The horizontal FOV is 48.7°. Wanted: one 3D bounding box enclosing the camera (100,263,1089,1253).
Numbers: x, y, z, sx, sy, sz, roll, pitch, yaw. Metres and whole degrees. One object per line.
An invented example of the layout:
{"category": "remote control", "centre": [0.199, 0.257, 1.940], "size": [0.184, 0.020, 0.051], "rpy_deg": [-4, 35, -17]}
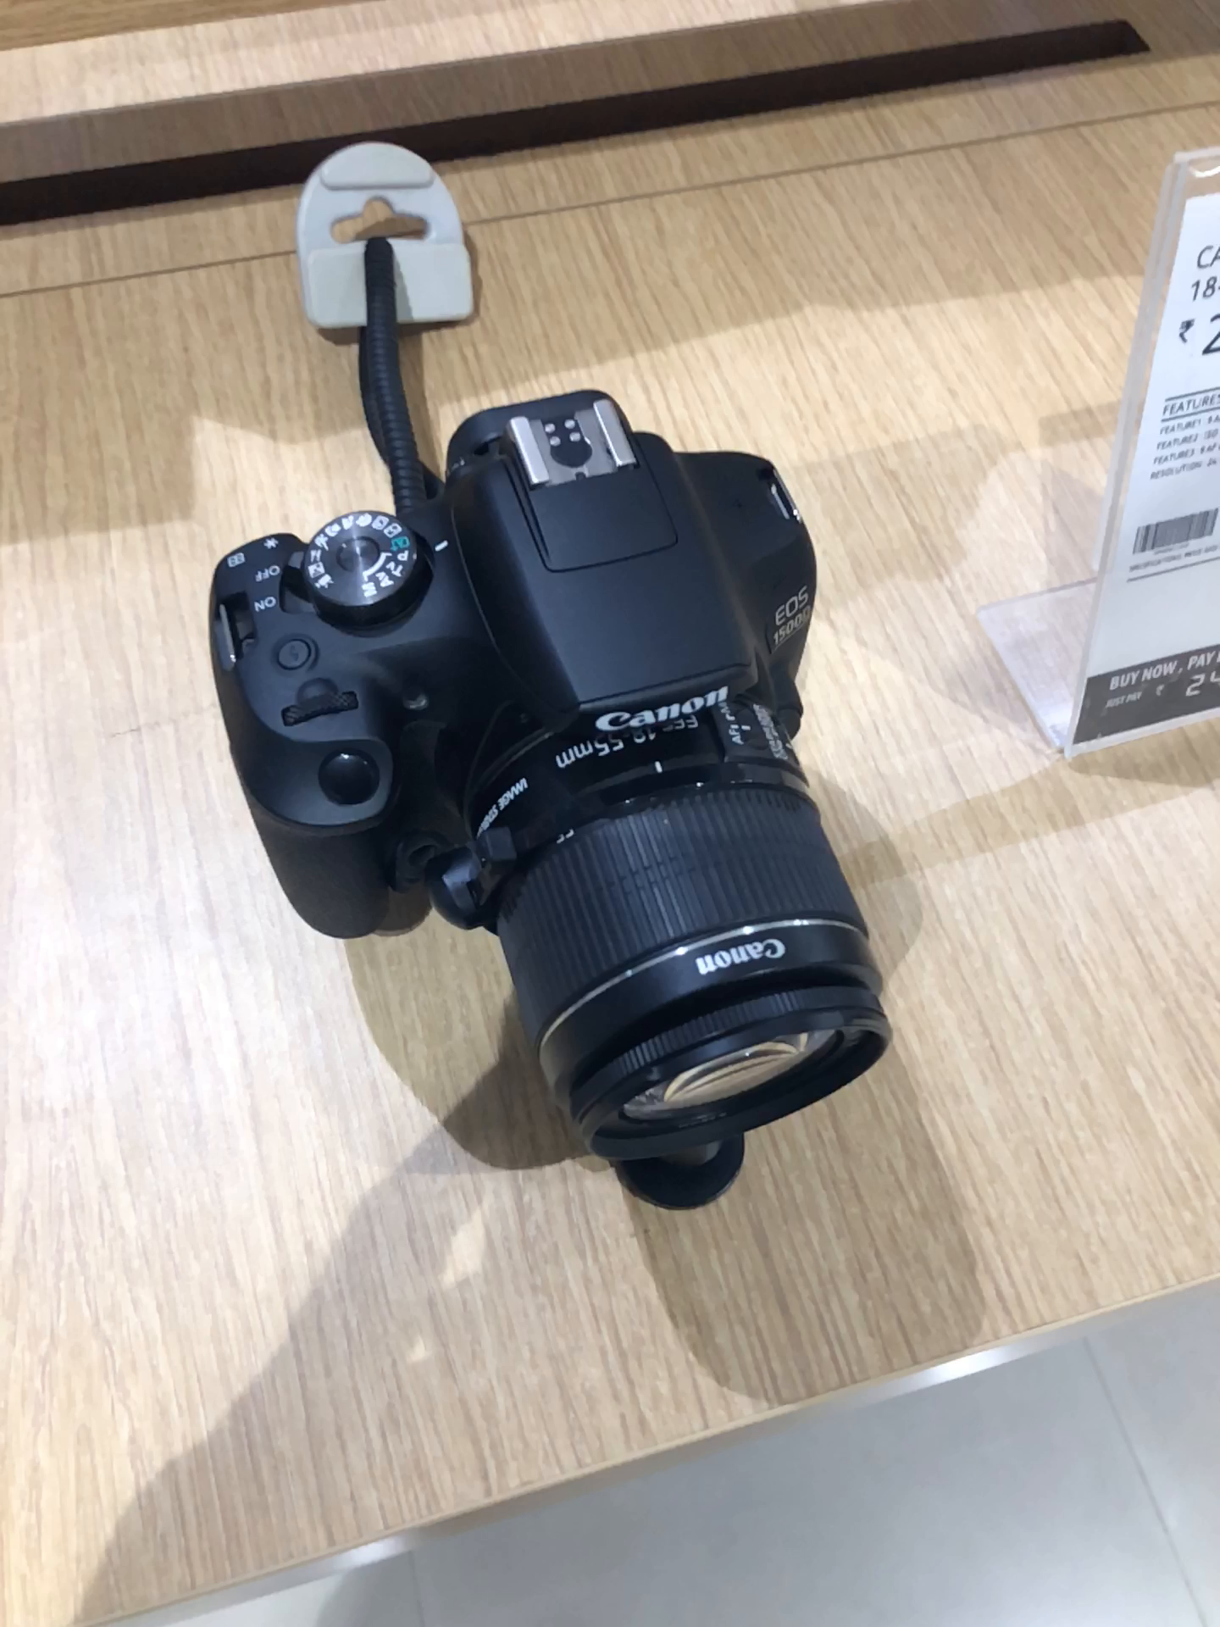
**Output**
{"category": "camera", "centre": [-0.012, -0.013, 0.260], "size": [0.130, 0.090, 0.140], "rpy_deg": [-13, 61, -9]}
